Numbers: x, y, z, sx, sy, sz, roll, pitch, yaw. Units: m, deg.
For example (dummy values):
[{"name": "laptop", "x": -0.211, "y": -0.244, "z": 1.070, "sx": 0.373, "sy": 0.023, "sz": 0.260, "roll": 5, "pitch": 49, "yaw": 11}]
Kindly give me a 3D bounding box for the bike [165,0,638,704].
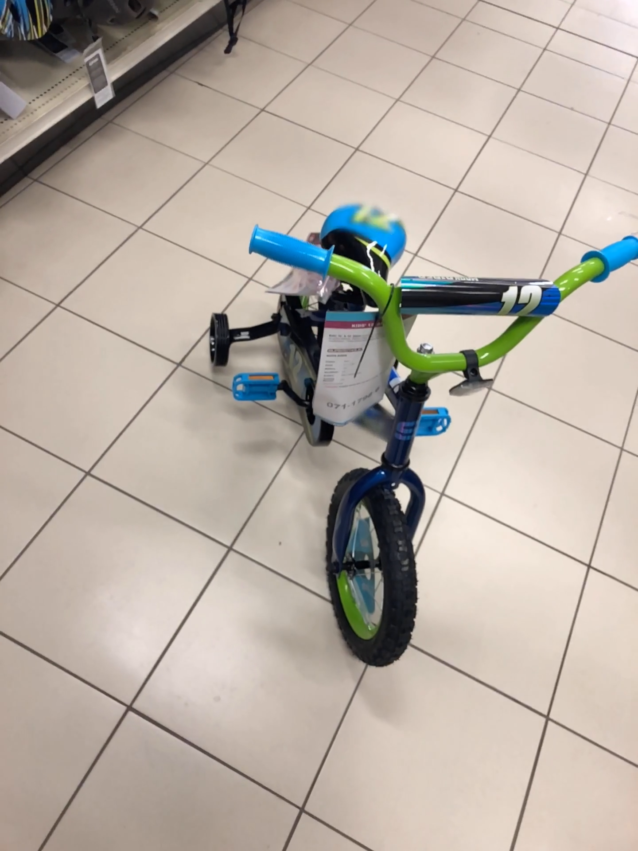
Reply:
[{"name": "bike", "x": 0.072, "y": -0.111, "z": 1.084, "sx": 0.548, "sy": 0.675, "sz": 0.797, "roll": -4, "pitch": 57, "yaw": -11}]
